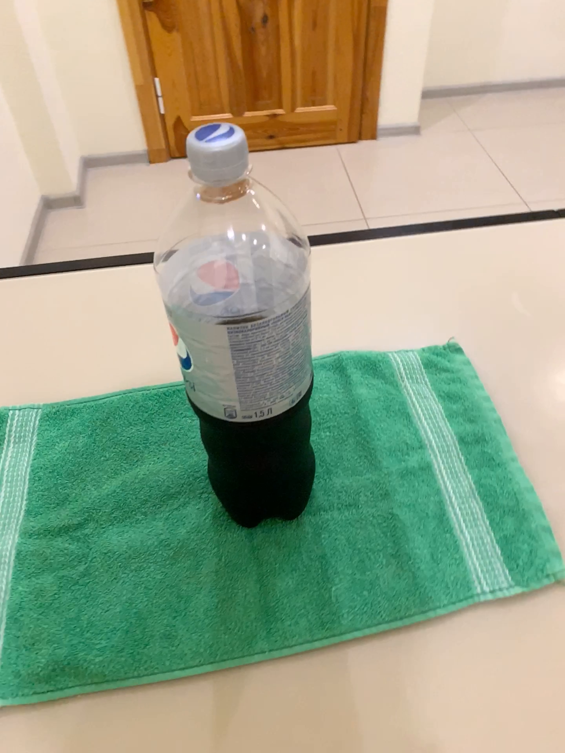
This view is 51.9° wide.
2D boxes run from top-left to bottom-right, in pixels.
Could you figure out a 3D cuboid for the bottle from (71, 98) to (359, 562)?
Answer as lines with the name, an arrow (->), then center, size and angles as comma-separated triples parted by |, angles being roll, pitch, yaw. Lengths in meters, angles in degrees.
bottle -> -0.029, -0.007, 0.395 | 0.100, 0.298, 0.100 | -1, 48, 1
